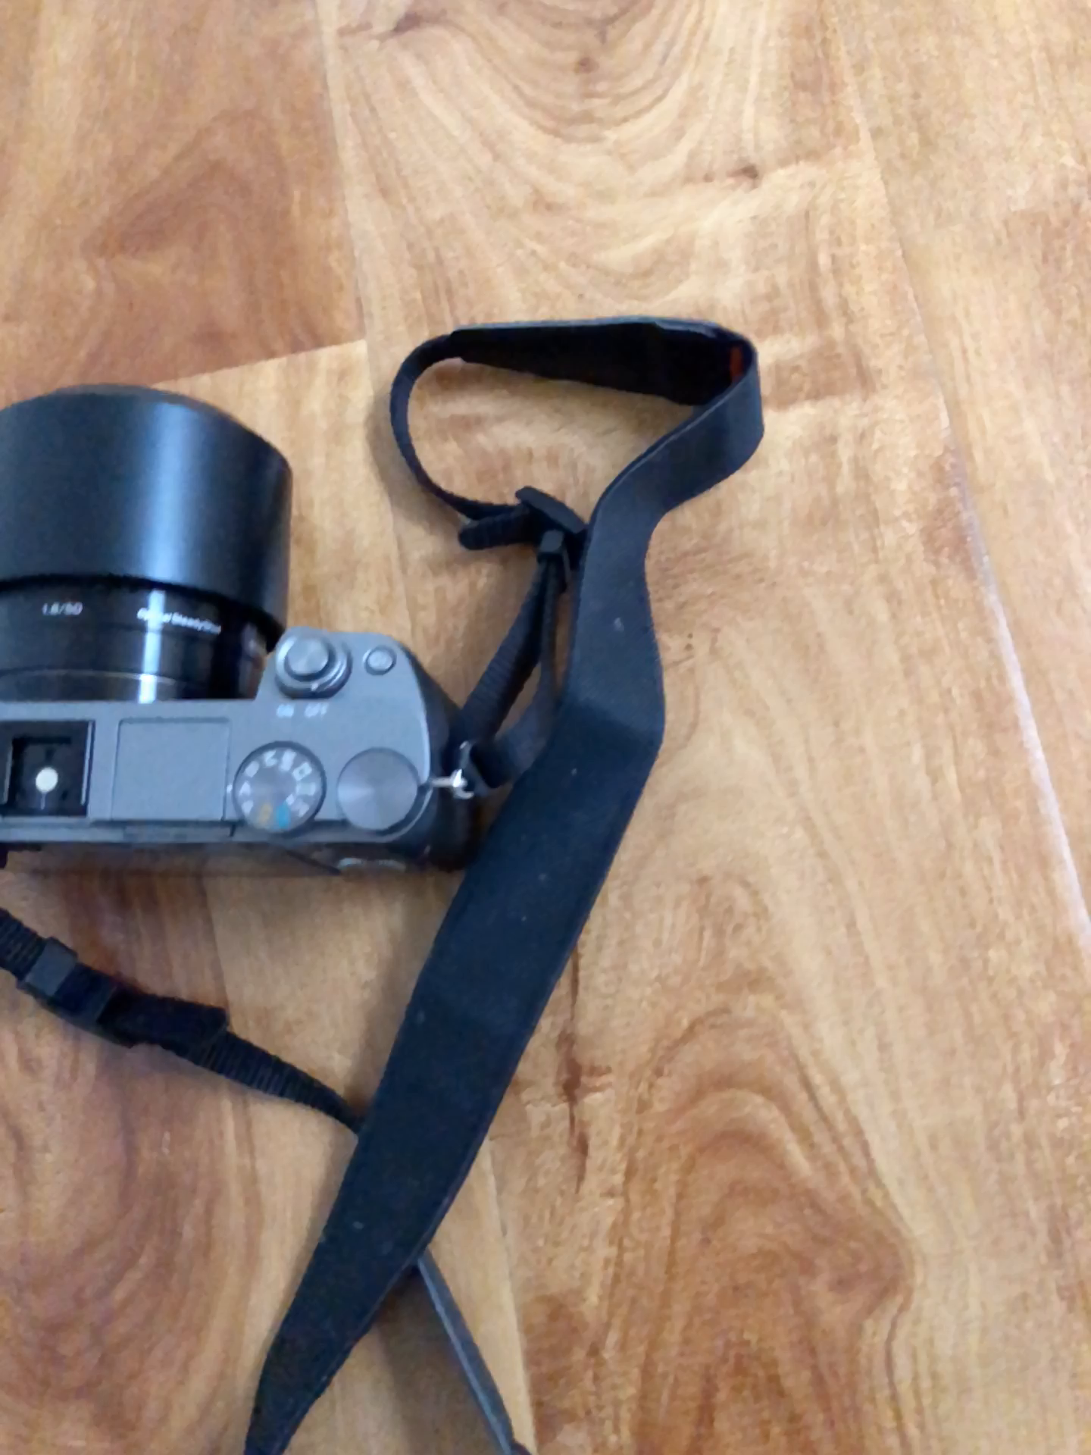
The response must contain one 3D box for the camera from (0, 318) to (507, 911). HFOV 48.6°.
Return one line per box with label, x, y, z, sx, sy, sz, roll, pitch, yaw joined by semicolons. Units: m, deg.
camera;-0.085;-0.018;0.274;0.140;0.080;0.110;0;76;6
